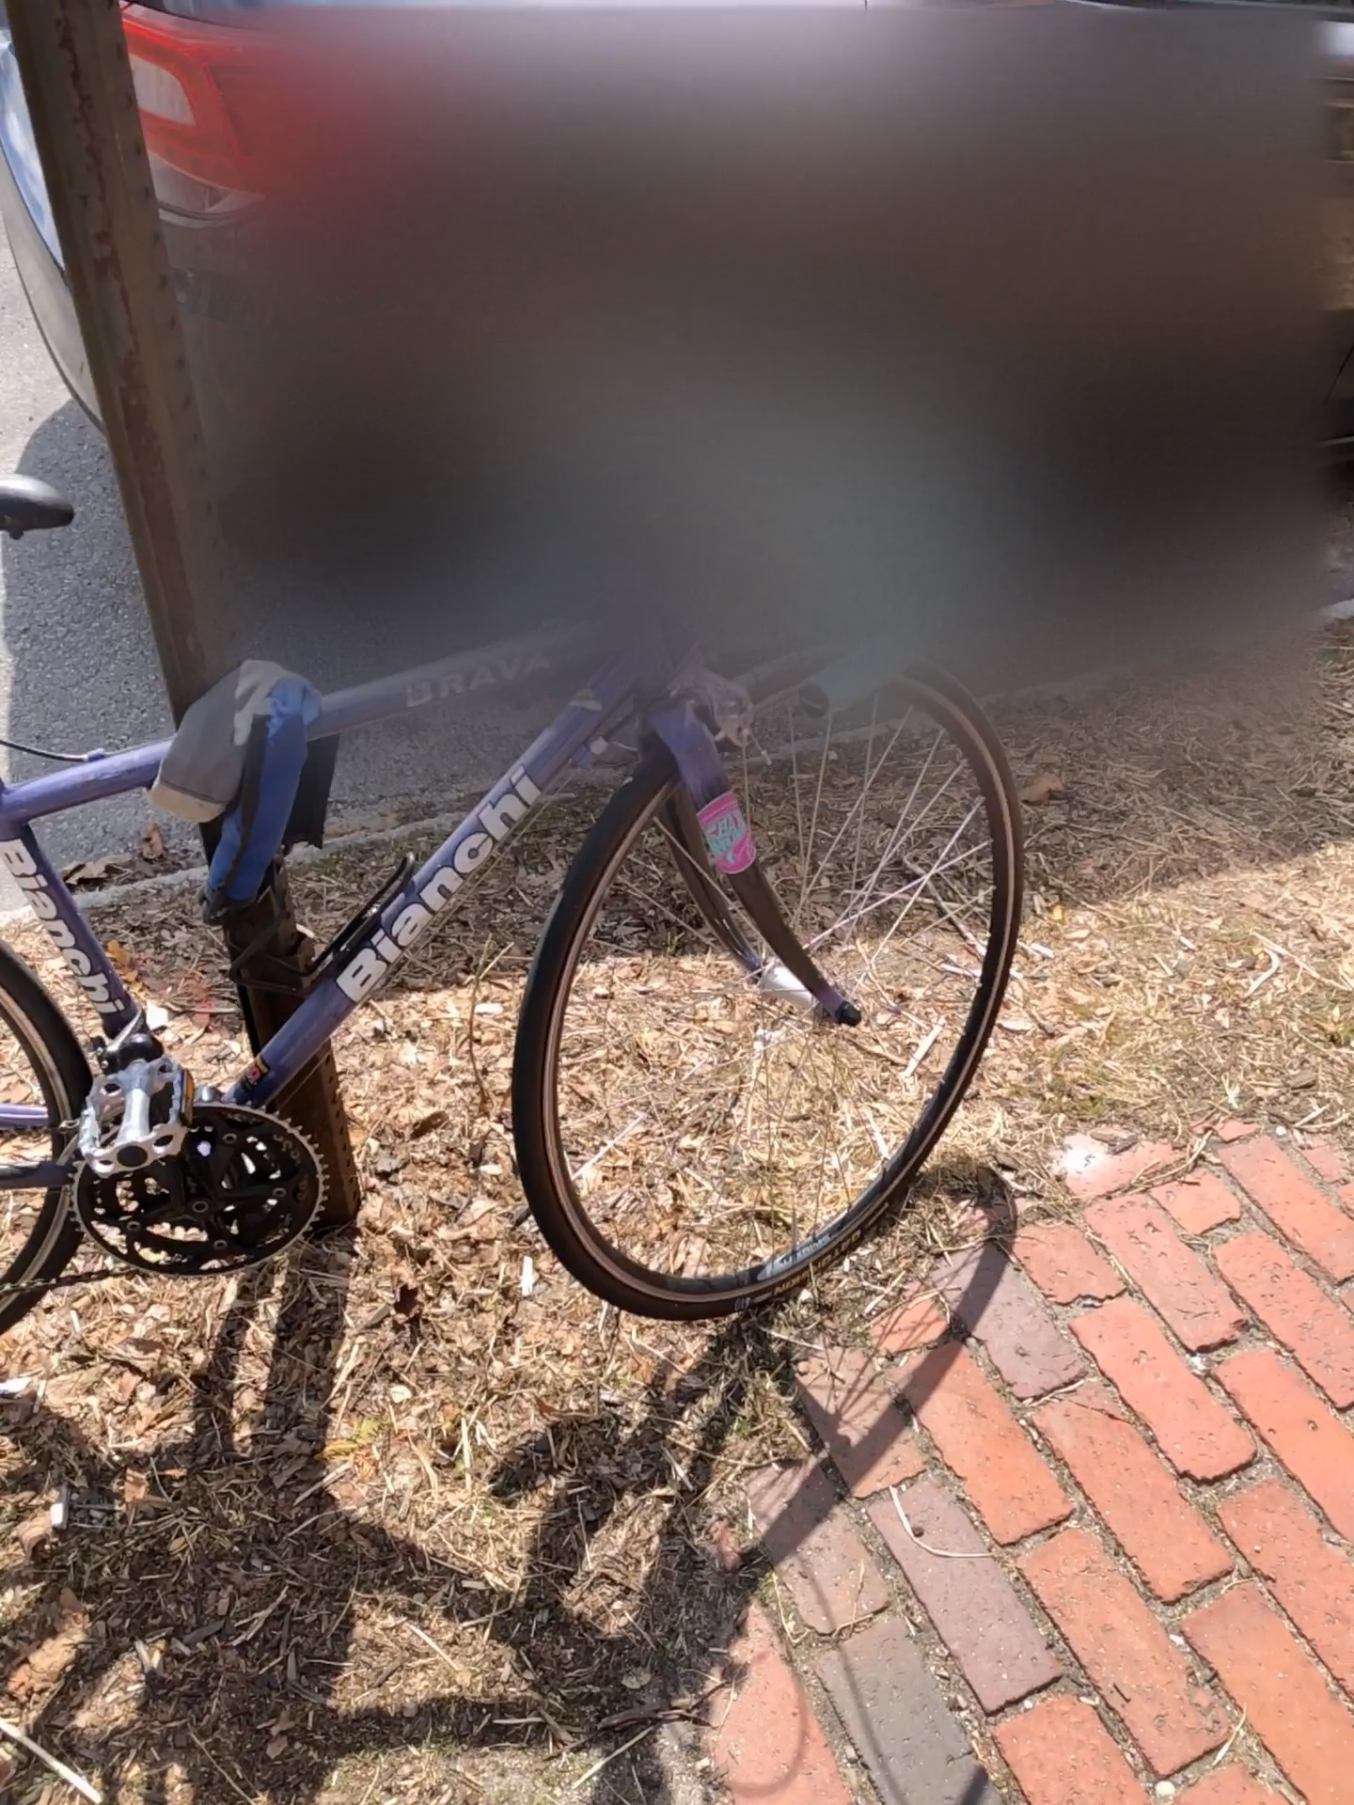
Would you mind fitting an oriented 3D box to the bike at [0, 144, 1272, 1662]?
[{"bbox_3d":[-0.391,-0.039,1.202,1.449,0.734,0.462,-13,42,-12],"label":"bike"}]
